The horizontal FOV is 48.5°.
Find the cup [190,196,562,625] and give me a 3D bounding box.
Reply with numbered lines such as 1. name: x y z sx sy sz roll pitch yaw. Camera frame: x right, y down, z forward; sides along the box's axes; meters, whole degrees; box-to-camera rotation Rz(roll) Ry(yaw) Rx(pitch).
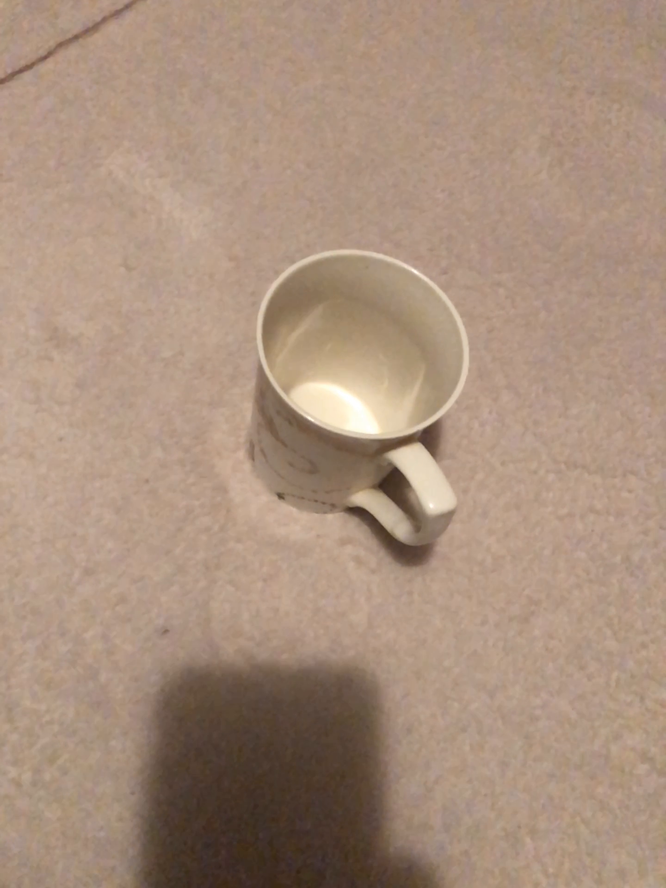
1. cup: 0.006 -0.007 0.291 0.073 0.110 0.112 -28 73 -18
